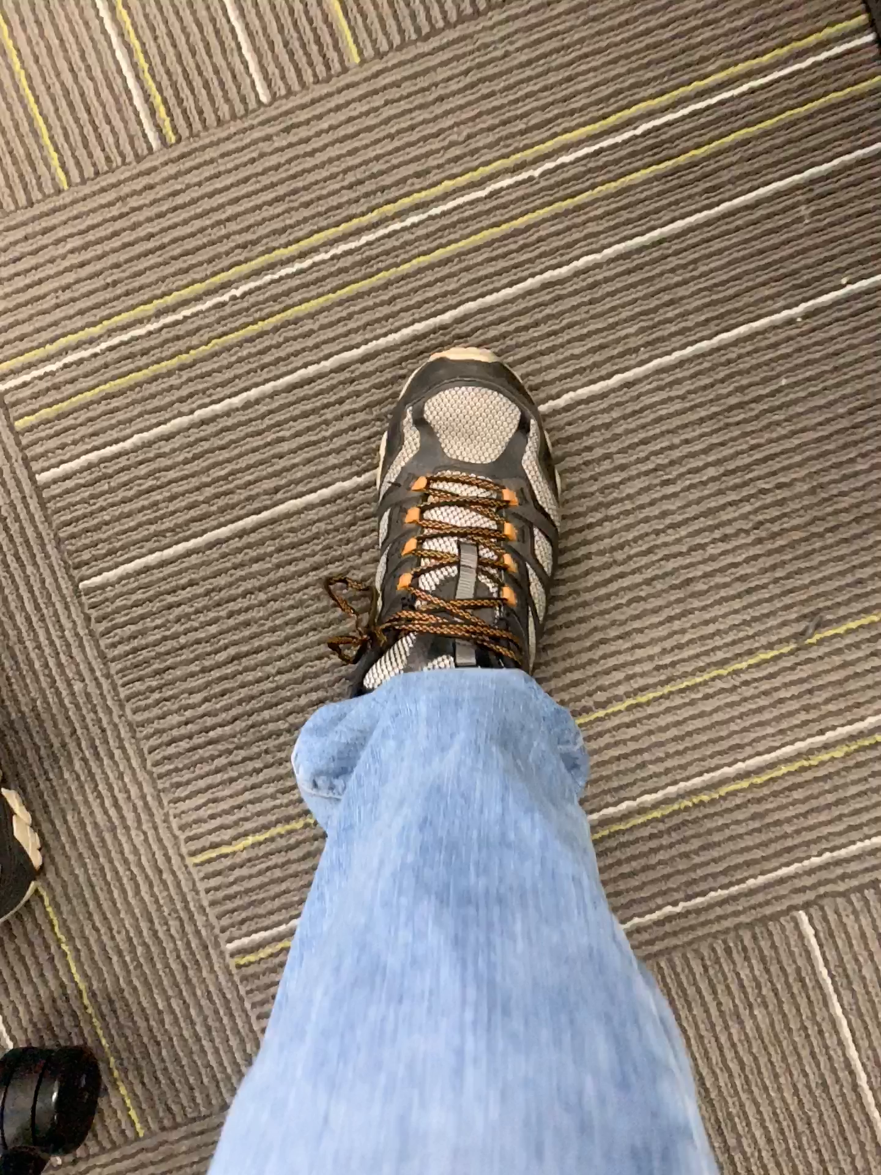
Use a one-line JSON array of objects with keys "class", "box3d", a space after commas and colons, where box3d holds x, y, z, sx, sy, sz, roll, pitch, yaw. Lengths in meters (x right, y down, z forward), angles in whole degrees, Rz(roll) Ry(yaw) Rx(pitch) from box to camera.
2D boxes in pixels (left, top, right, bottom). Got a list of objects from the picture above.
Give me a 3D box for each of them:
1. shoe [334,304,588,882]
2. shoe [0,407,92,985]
[{"class": "shoe", "box3d": [0.011, 0.003, 0.562, 0.122, 0.095, 0.322, 4, 95, 2]}, {"class": "shoe", "box3d": [-0.353, 0.065, 0.581, 0.125, 0.095, 0.323, -16, 94, 3]}]
